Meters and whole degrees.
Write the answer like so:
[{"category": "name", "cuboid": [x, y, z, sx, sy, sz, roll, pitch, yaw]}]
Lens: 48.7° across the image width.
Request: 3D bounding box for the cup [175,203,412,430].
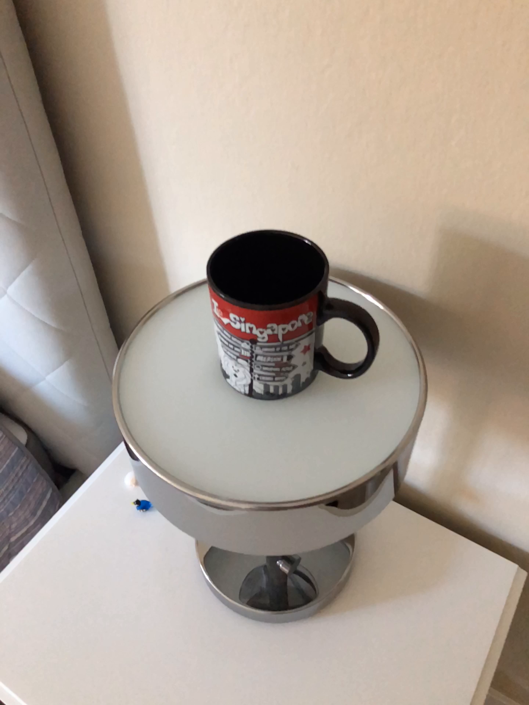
[{"category": "cup", "cuboid": [0.022, -0.027, 0.411, 0.130, 0.100, 0.090, 14, 49, 14]}]
